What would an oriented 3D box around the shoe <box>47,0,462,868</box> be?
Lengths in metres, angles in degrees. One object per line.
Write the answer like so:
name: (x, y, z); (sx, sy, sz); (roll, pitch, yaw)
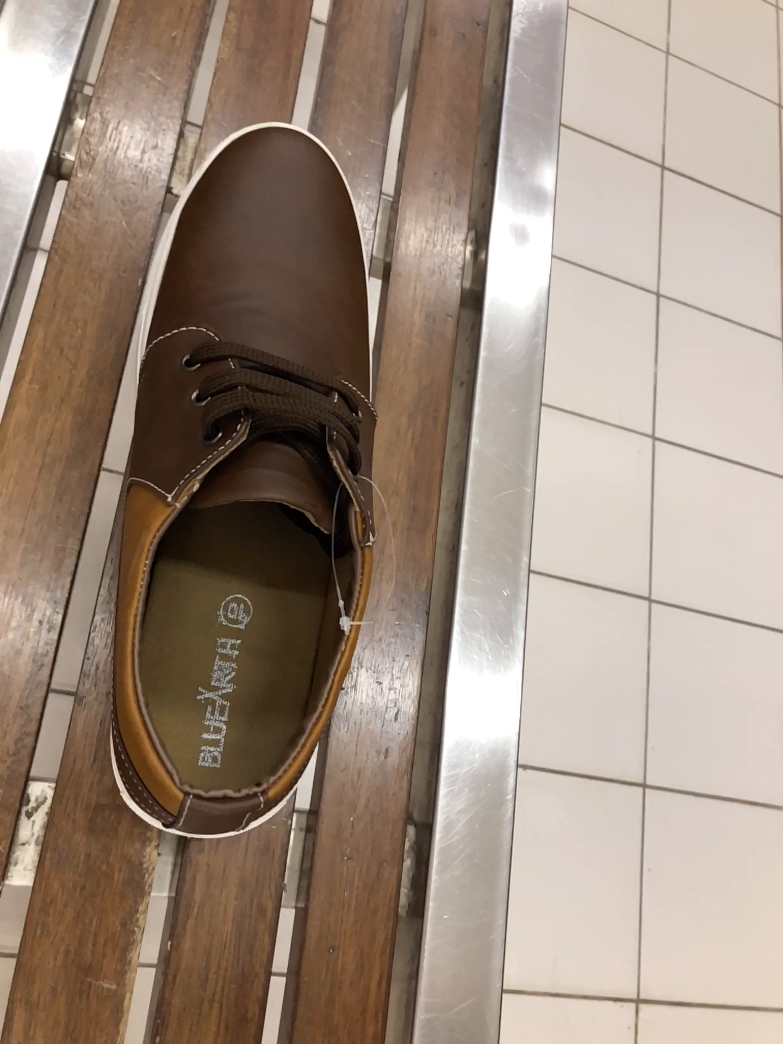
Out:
shoe: (-0.045, -0.041, 0.332); (0.100, 0.080, 0.311); (12, 71, -18)
